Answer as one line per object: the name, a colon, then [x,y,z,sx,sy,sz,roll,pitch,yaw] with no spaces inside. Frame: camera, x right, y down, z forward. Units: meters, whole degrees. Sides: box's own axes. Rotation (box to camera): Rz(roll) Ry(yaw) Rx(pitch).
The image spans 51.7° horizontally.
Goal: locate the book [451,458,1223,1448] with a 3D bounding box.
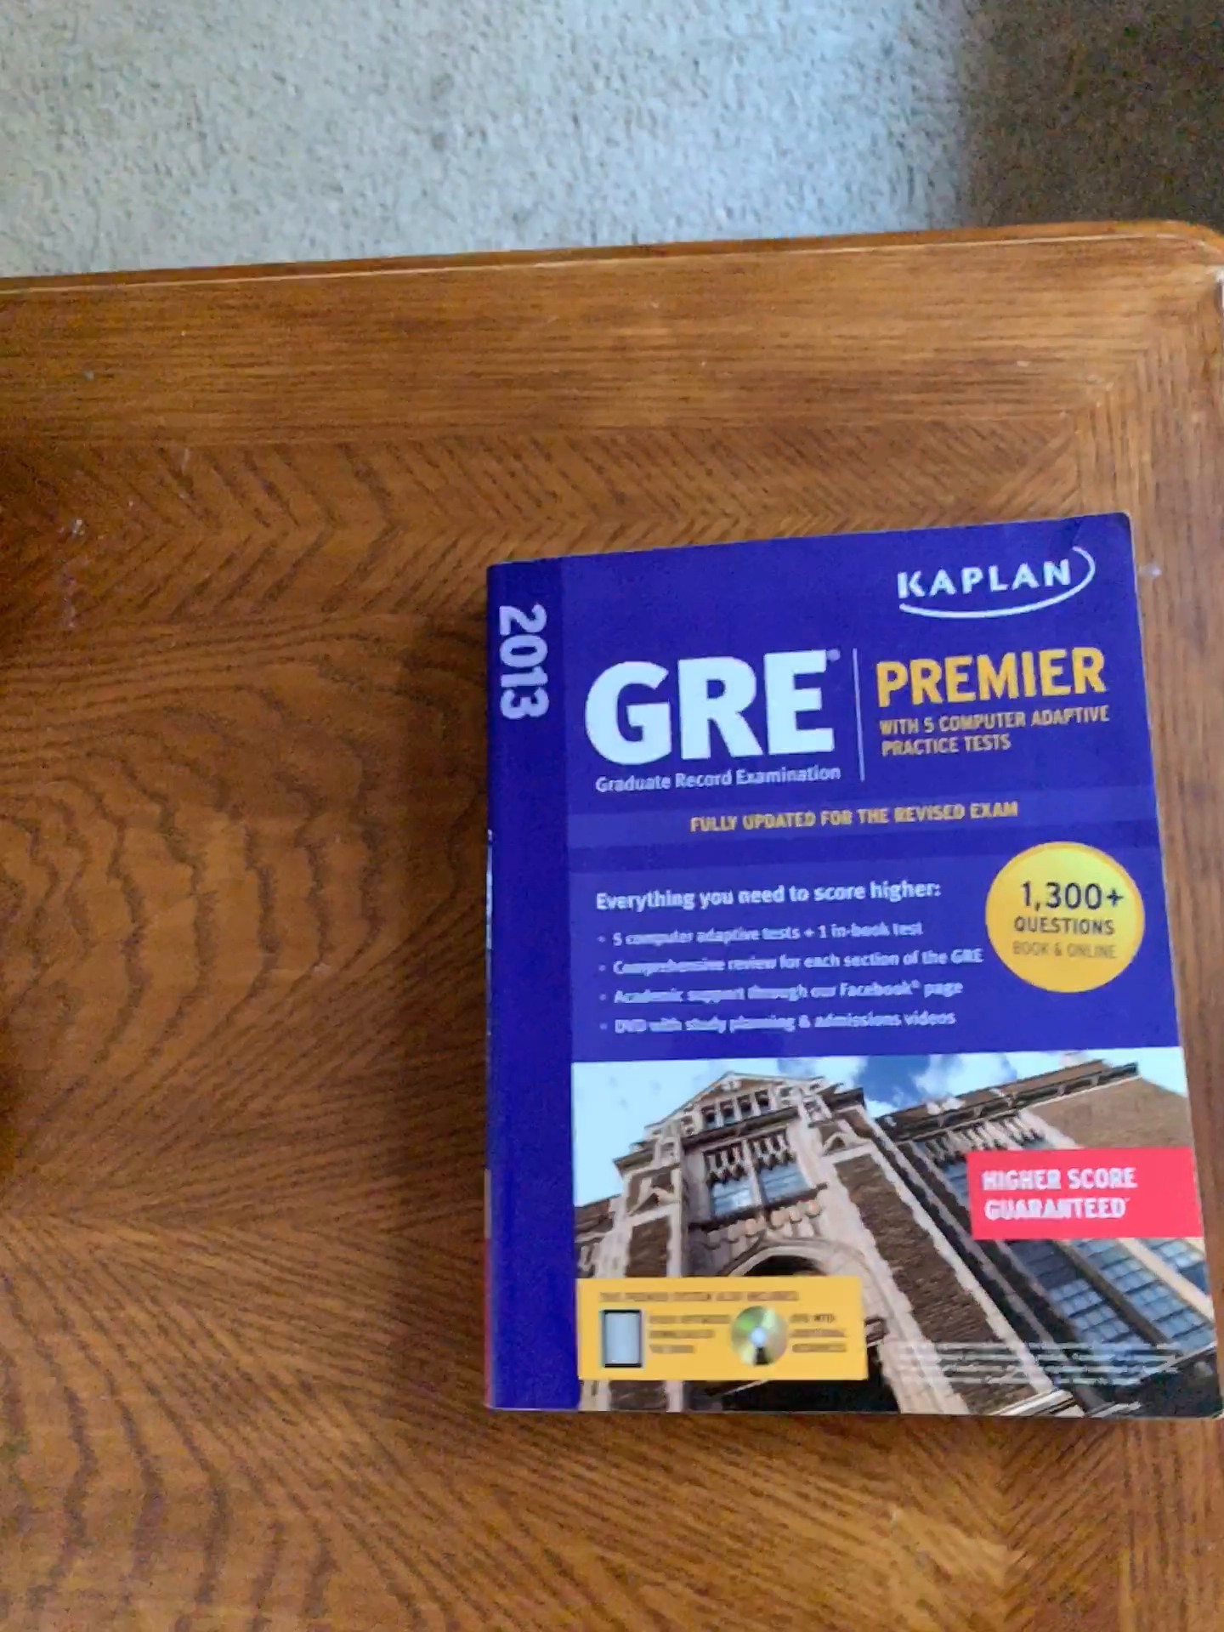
book: [0.063,0.040,0.414,0.220,0.060,0.290,-2,79,7]
